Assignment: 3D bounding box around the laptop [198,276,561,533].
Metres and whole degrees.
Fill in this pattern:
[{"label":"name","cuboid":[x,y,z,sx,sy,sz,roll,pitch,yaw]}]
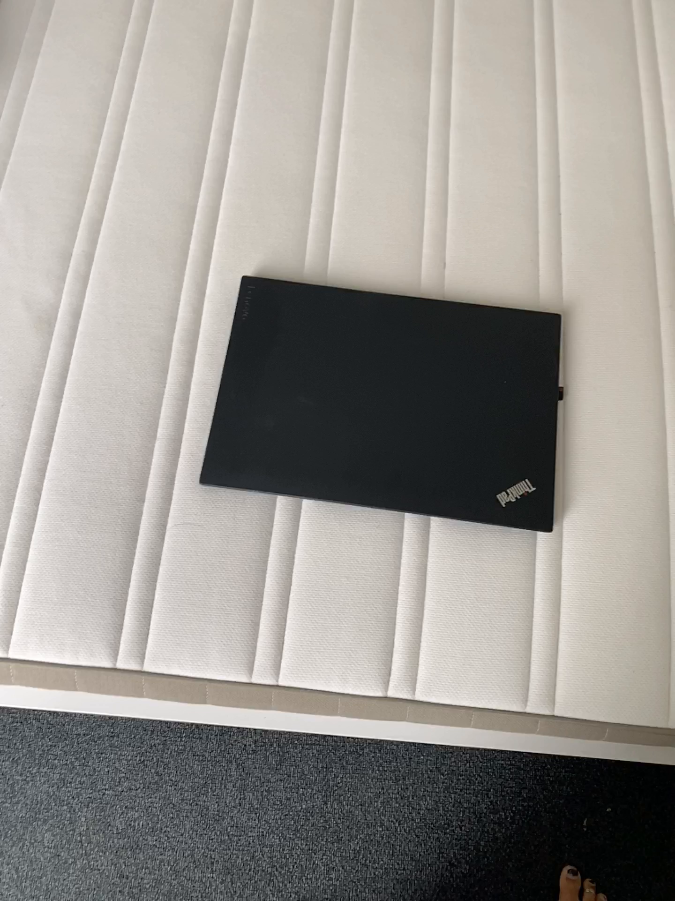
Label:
[{"label":"laptop","cuboid":[0.042,-0.044,0.589,0.288,0.005,0.193,8,74,1]}]
